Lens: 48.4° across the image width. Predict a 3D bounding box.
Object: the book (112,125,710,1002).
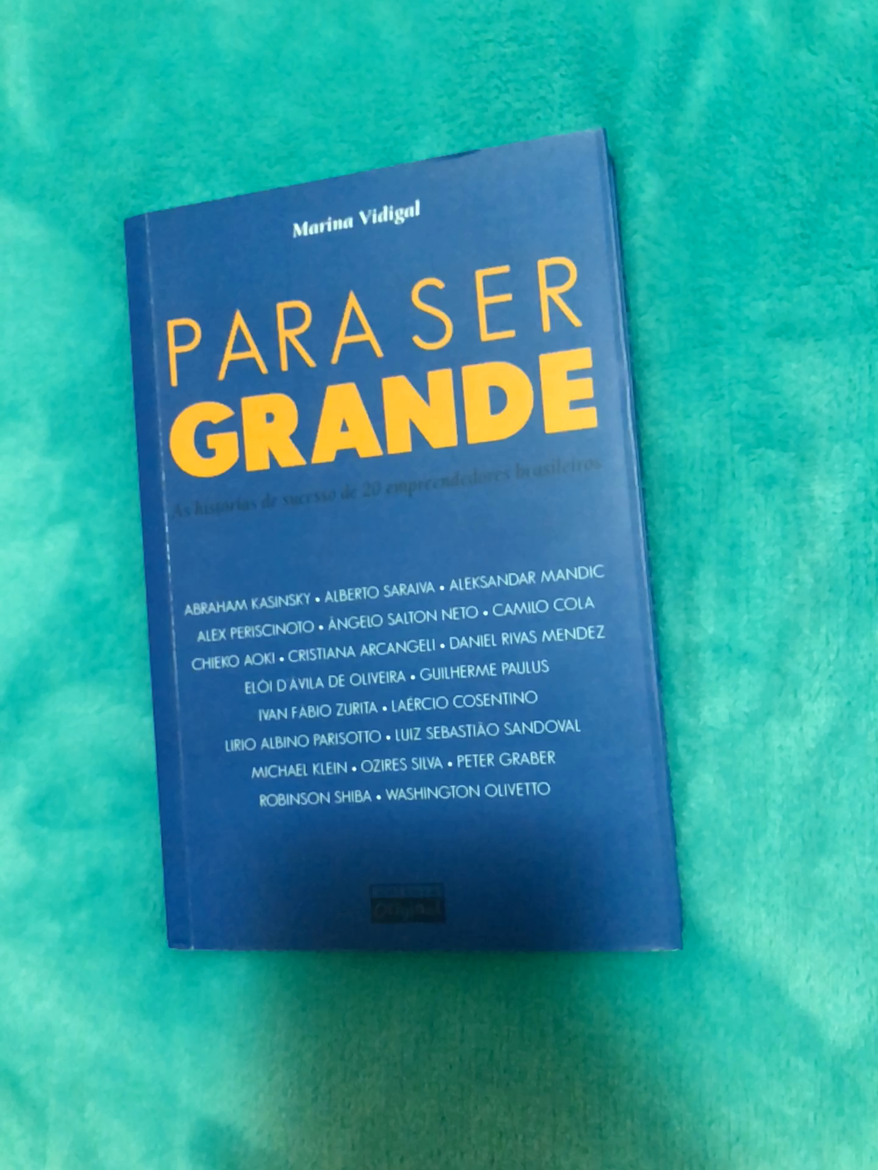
[{"bbox_3d":[-0.010,-0.001,0.255,0.140,0.030,0.200,-4,88,15],"label":"book"}]
